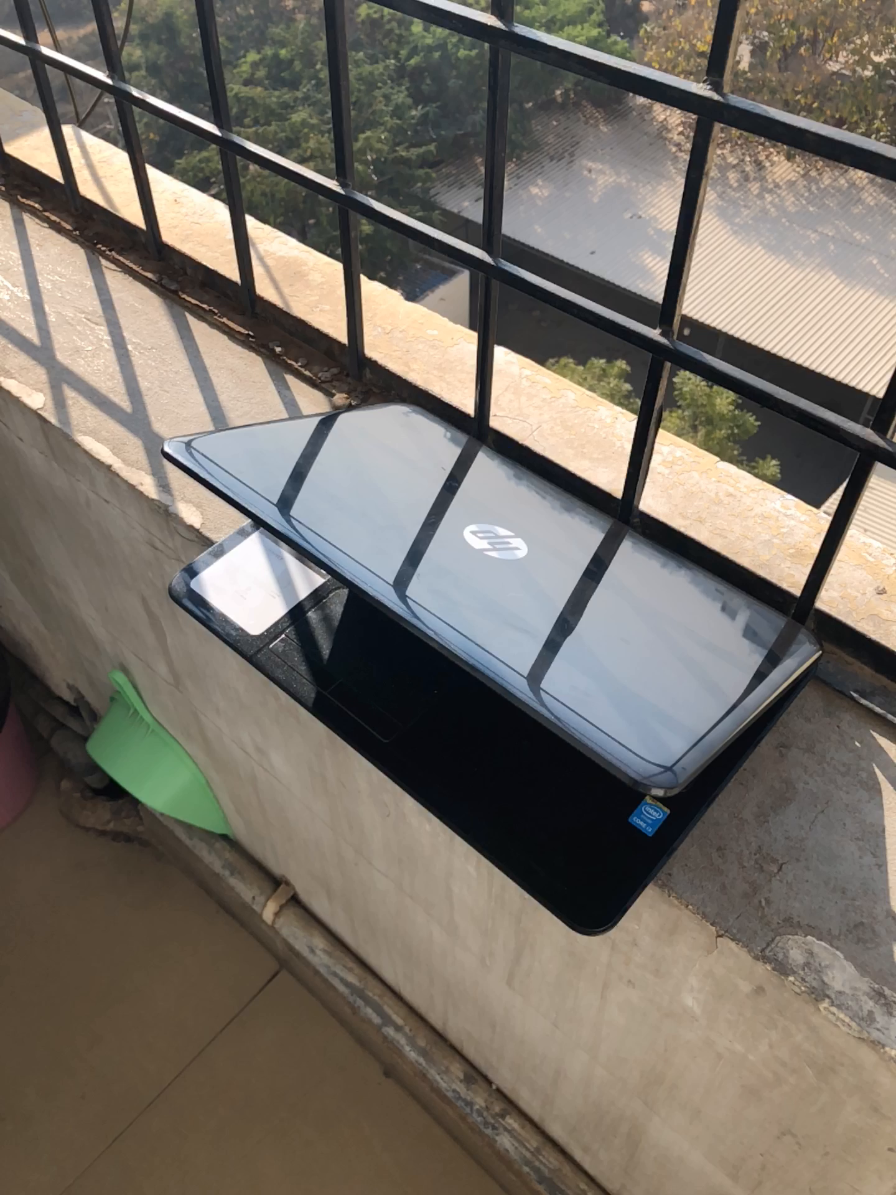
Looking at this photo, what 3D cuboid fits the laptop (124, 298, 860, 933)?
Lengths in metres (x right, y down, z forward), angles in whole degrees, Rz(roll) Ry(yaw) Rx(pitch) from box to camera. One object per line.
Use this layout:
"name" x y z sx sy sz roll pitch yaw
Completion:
"laptop" 0.020 -0.021 0.619 0.364 0.113 0.245 34 56 26
